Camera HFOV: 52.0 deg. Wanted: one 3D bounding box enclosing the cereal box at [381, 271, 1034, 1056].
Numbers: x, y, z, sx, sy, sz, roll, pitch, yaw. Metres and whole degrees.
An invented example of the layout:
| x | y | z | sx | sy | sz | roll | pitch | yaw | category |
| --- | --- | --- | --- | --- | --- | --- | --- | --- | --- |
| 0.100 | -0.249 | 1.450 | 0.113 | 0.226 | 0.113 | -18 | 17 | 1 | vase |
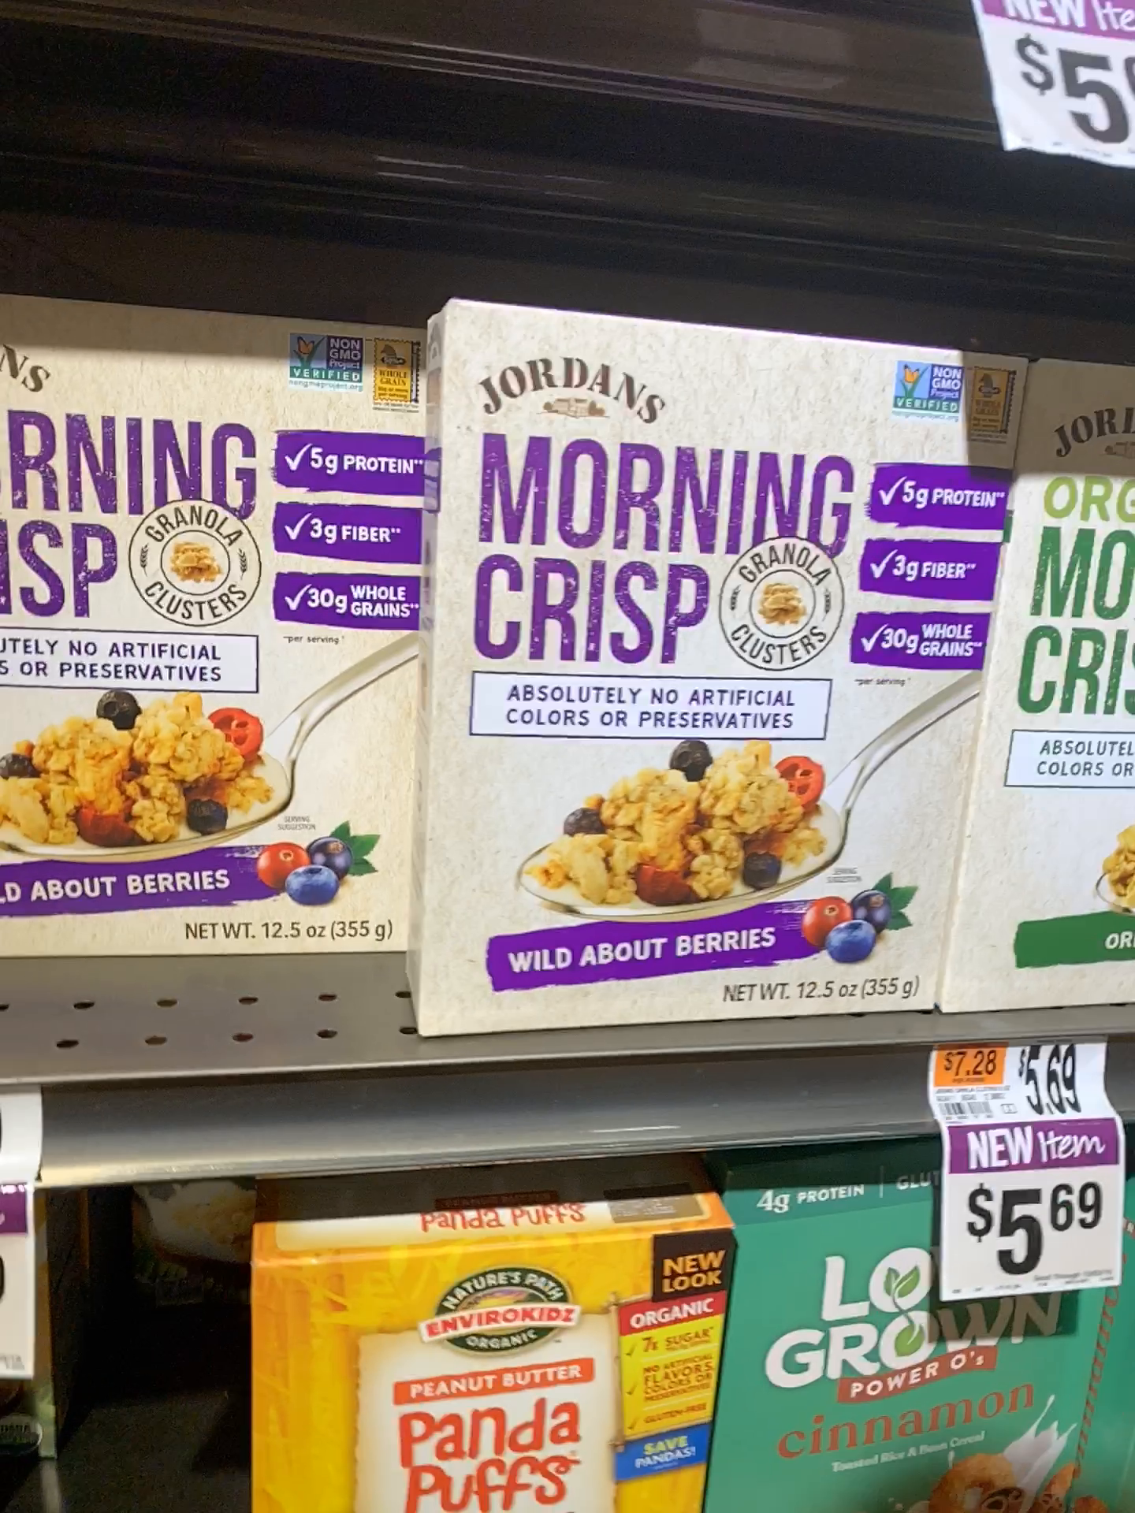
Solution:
| x | y | z | sx | sy | sz | roll | pitch | yaw | category |
| --- | --- | --- | --- | --- | --- | --- | --- | --- | --- |
| 0.036 | -0.025 | 0.371 | 0.180 | 0.219 | 0.060 | 0 | 14 | -14 | cereal box |
